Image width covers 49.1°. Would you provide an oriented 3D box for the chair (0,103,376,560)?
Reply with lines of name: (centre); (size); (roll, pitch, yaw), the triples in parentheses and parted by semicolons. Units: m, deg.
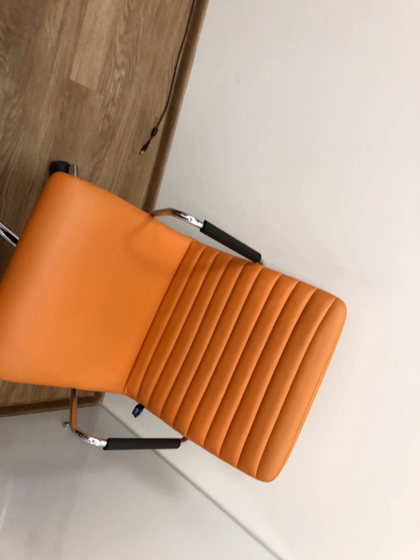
chair: (-0.240, 0.036, 1.128); (0.663, 0.896, 0.620); (17, 94, -49)
